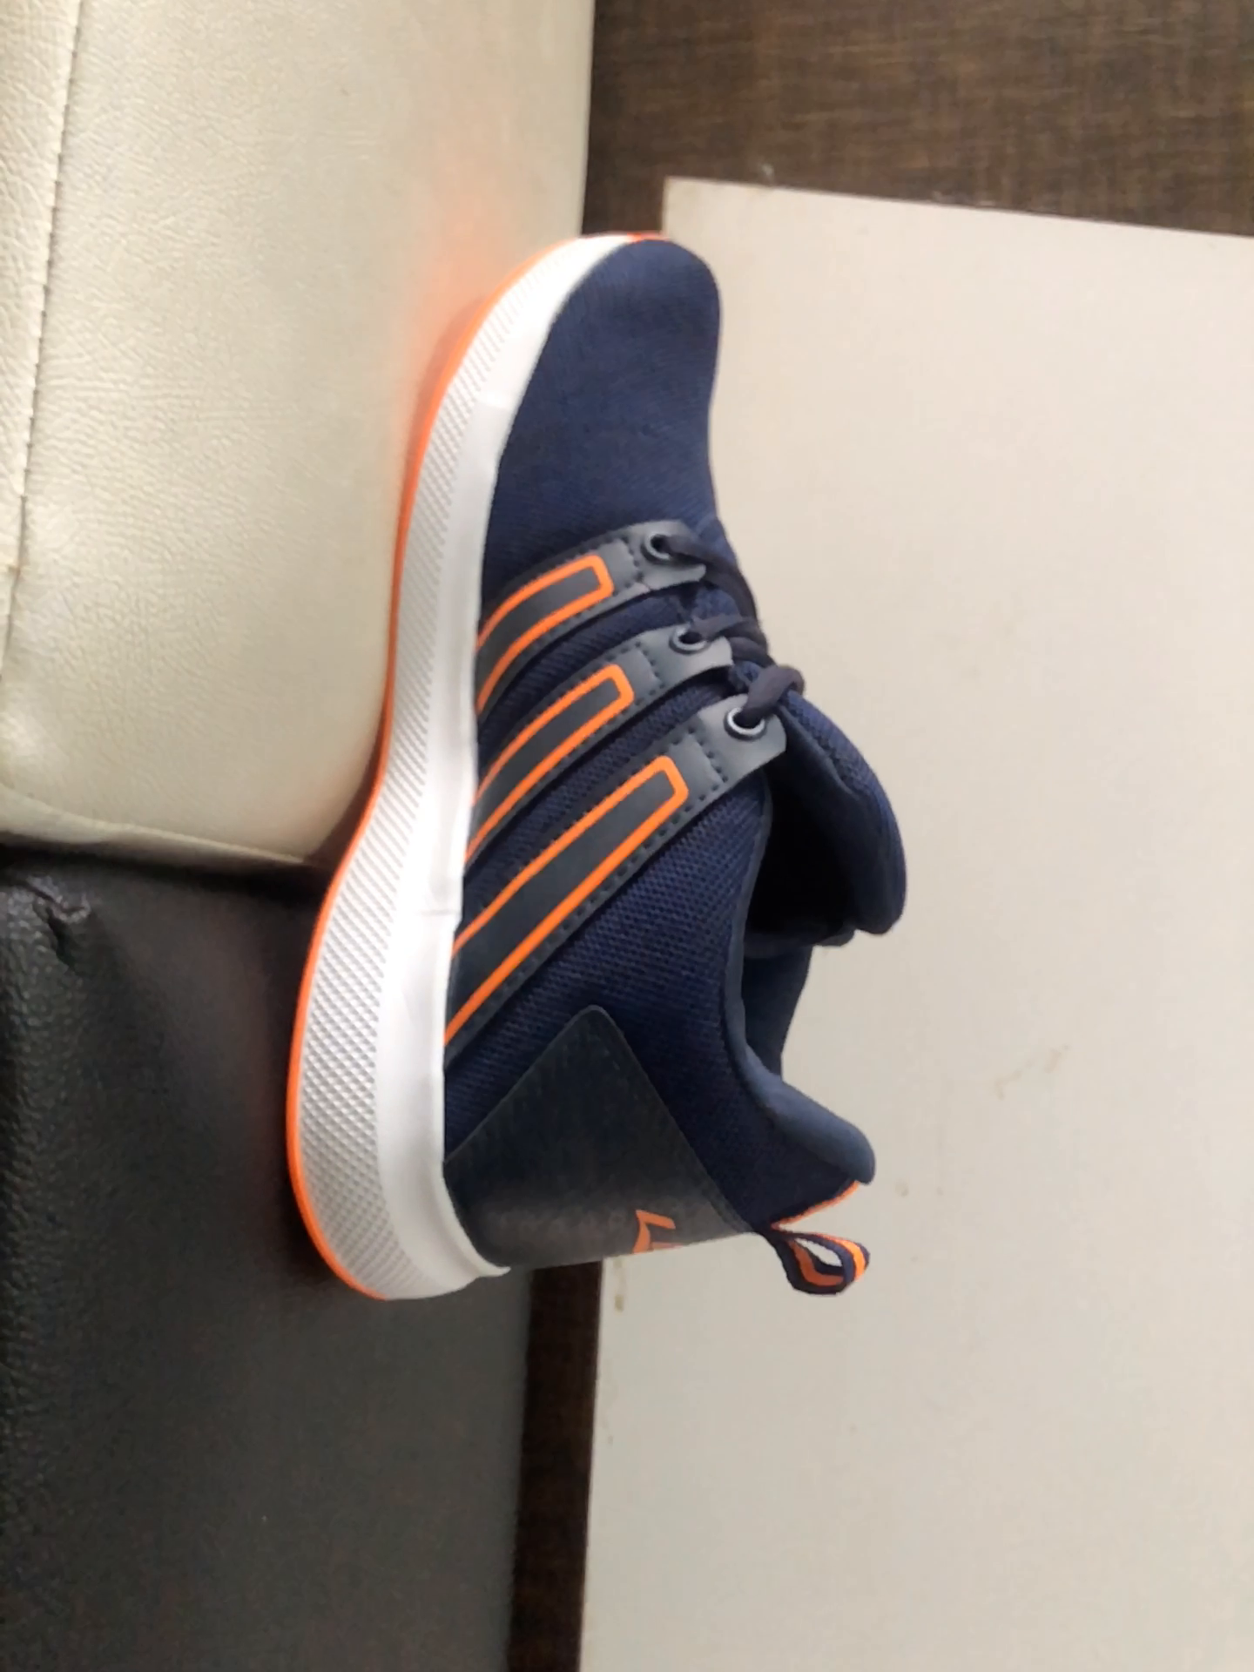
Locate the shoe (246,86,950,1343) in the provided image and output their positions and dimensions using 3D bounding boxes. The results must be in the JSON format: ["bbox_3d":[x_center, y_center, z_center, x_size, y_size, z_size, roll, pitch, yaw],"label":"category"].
[{"bbox_3d":[0.011,-0.030,0.361,0.120,0.110,0.280,54,44,-71],"label":"shoe"}]
